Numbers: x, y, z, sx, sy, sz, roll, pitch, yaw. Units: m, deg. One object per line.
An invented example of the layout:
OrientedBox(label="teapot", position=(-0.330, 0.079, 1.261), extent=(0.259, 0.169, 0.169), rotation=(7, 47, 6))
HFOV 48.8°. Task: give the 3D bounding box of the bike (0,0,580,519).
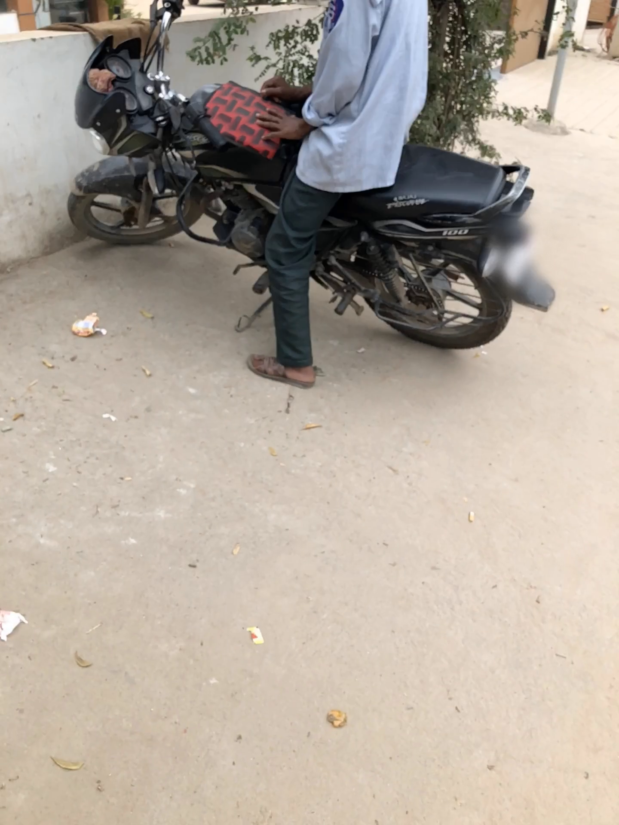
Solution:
OrientedBox(label="bike", position=(-0.055, -0.653, 2.243), extent=(1.496, 1.333, 0.791), rotation=(16, 37, 17))
